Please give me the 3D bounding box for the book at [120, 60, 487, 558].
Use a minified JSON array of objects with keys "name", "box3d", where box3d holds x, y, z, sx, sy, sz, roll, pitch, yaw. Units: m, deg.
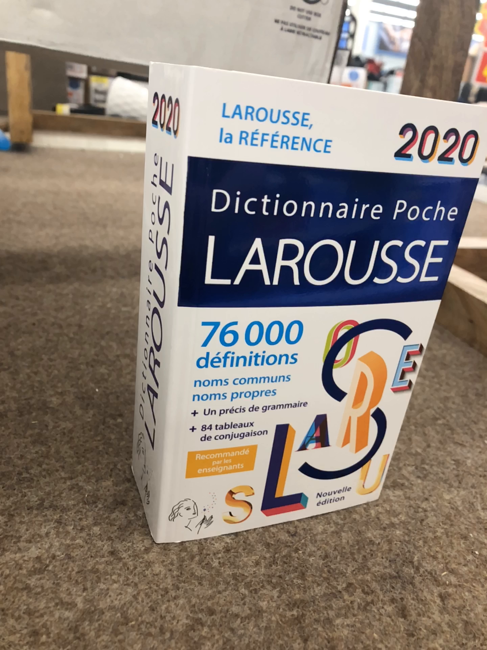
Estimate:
[{"name":"book","box3d":[0.013,-0.005,0.223,0.111,0.173,0.061,-3,25,-22]}]
